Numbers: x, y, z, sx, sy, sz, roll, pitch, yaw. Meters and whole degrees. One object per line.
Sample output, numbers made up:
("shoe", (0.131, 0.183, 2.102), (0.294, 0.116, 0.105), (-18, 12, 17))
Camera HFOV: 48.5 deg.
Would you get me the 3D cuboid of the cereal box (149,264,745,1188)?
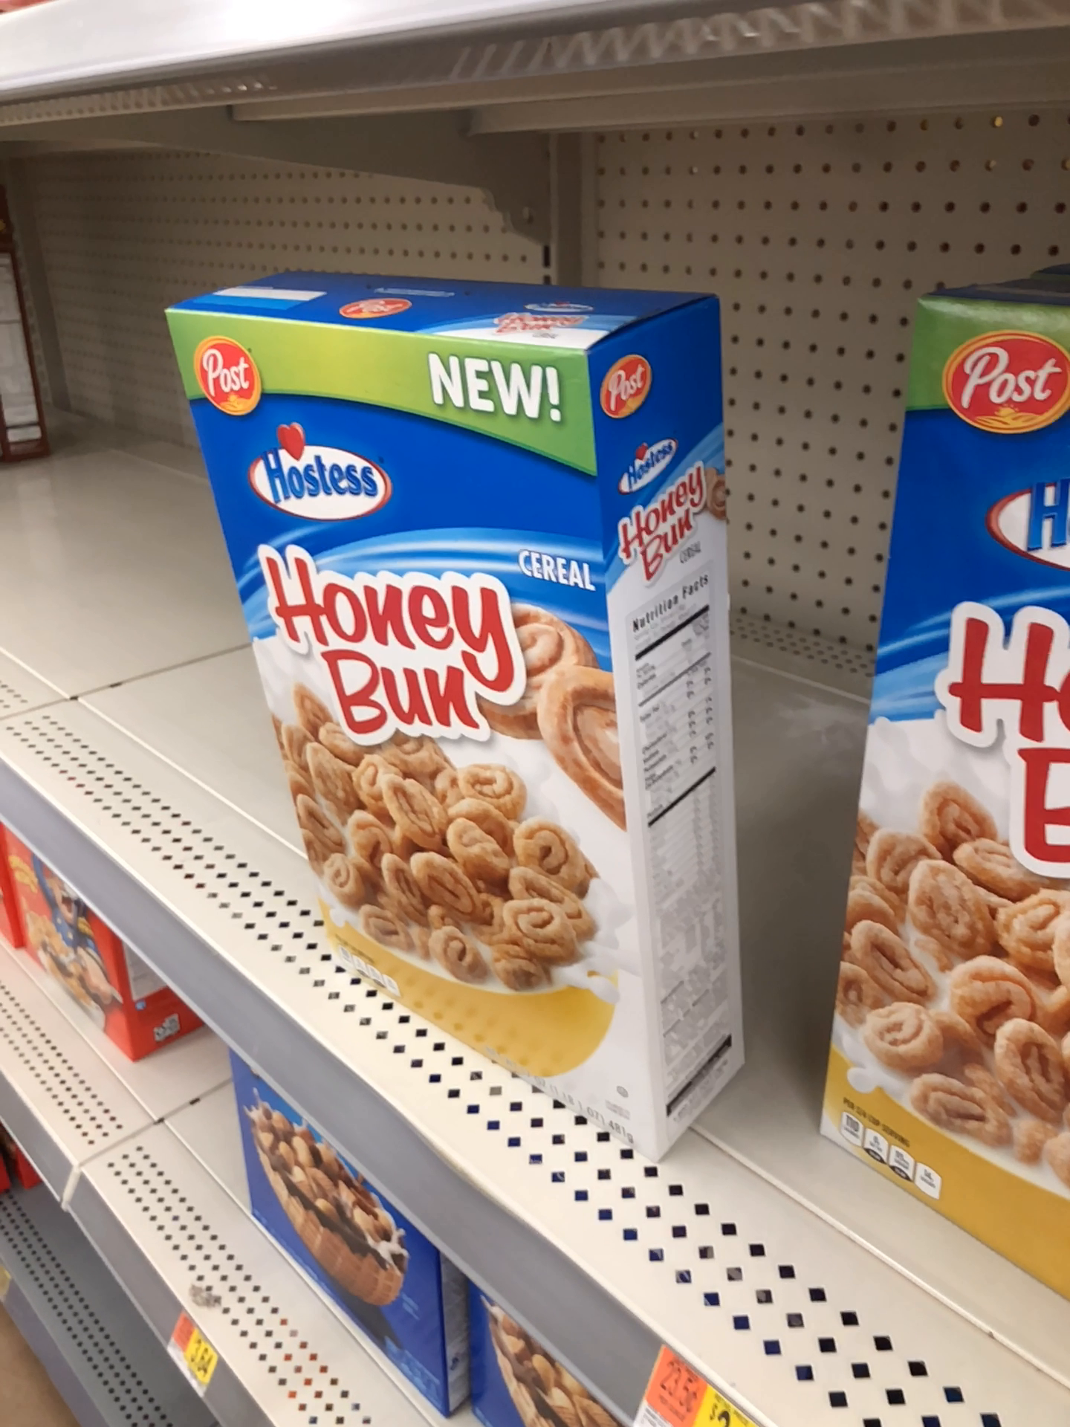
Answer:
("cereal box", (-0.025, 0.002, 0.446), (0.200, 0.309, 0.060), (20, 39, 39))
